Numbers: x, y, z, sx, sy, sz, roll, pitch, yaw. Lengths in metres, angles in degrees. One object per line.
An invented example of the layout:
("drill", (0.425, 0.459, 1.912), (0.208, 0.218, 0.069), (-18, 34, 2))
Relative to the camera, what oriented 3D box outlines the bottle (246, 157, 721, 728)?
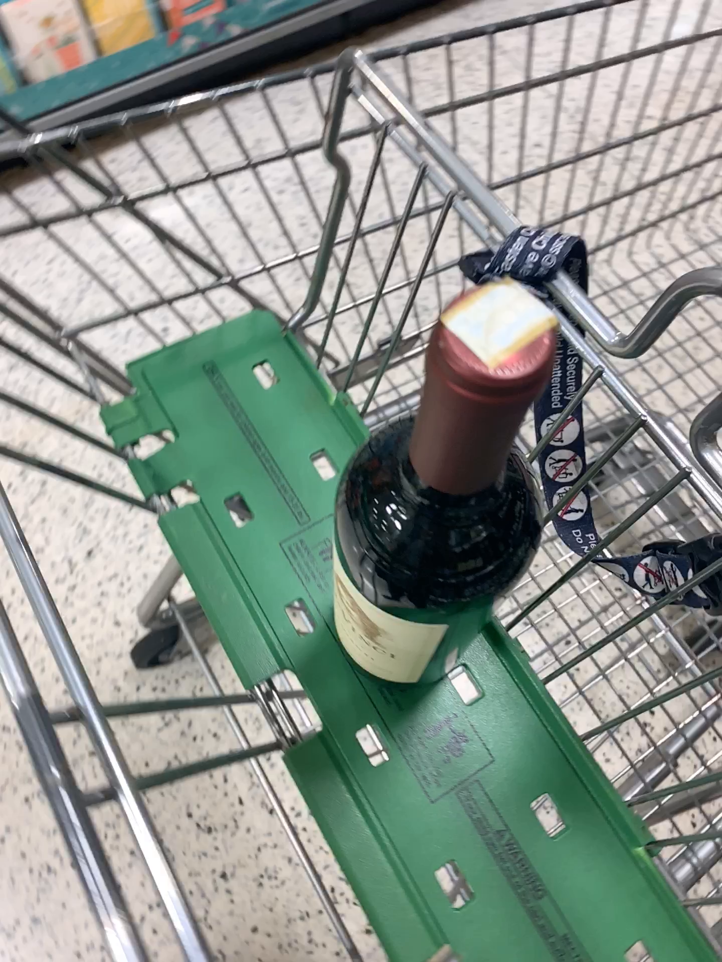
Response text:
("bottle", (0.024, 0.022, 0.292), (0.080, 0.268, 0.080), (1, 65, -2))
